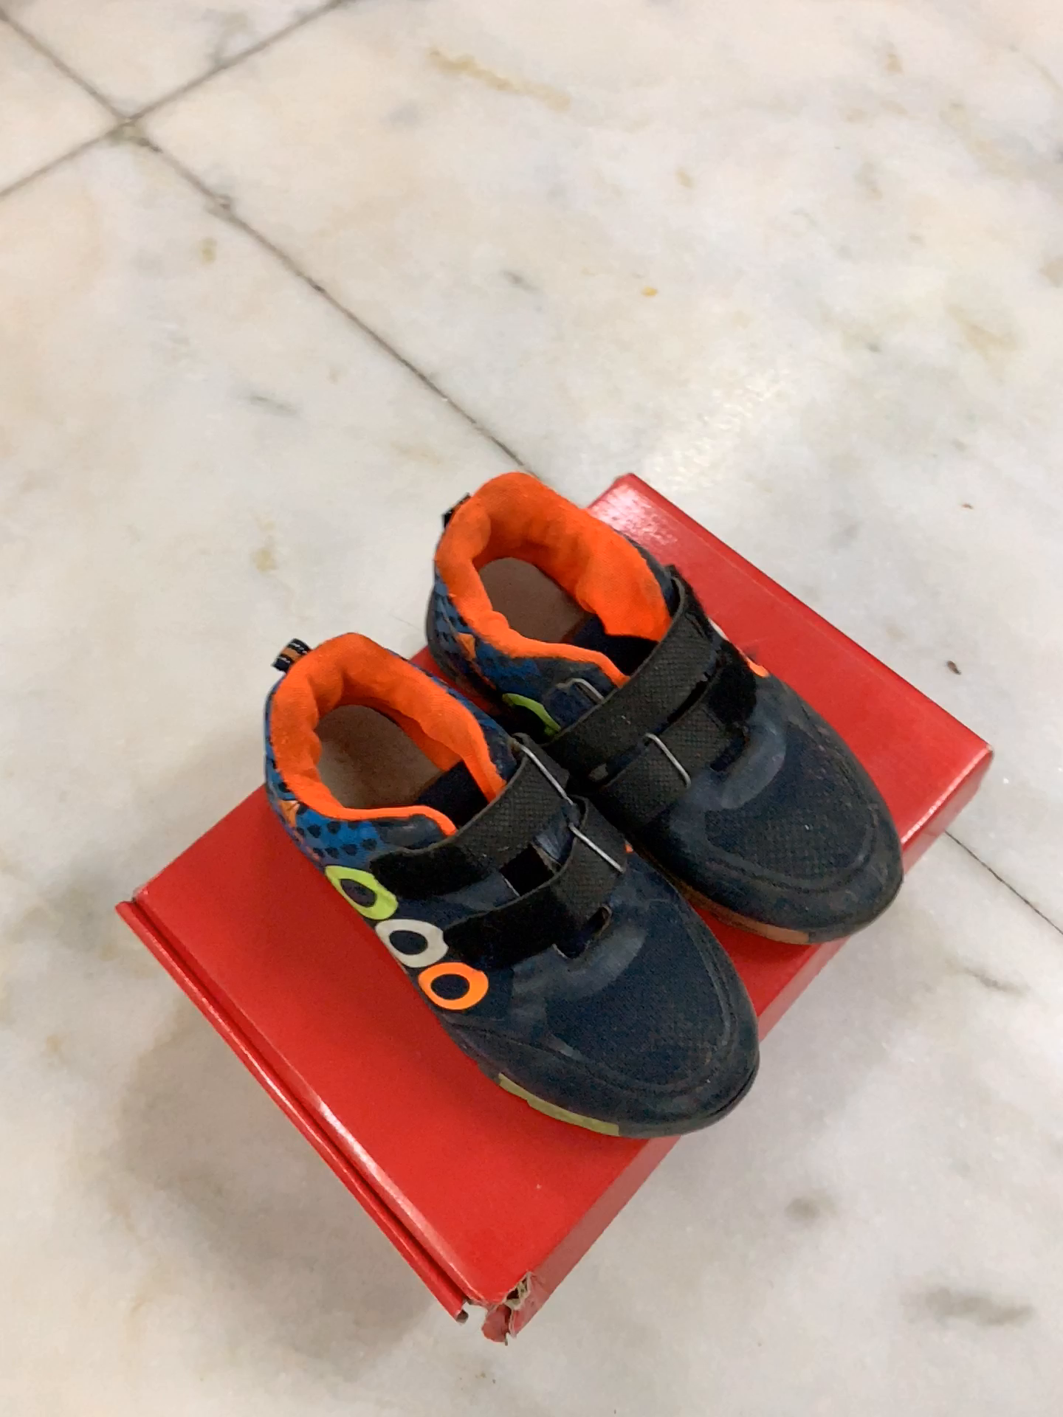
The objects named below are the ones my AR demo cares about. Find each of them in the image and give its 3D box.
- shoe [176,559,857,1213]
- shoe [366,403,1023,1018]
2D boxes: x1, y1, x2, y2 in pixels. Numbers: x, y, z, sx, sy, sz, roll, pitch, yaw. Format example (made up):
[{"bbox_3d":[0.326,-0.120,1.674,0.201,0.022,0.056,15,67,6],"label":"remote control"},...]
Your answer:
[{"bbox_3d":[-0.010,0.061,0.384,0.210,0.090,0.090,41,71,17],"label":"shoe"},{"bbox_3d":[0.047,-0.001,0.389,0.211,0.080,0.080,41,71,17],"label":"shoe"}]
